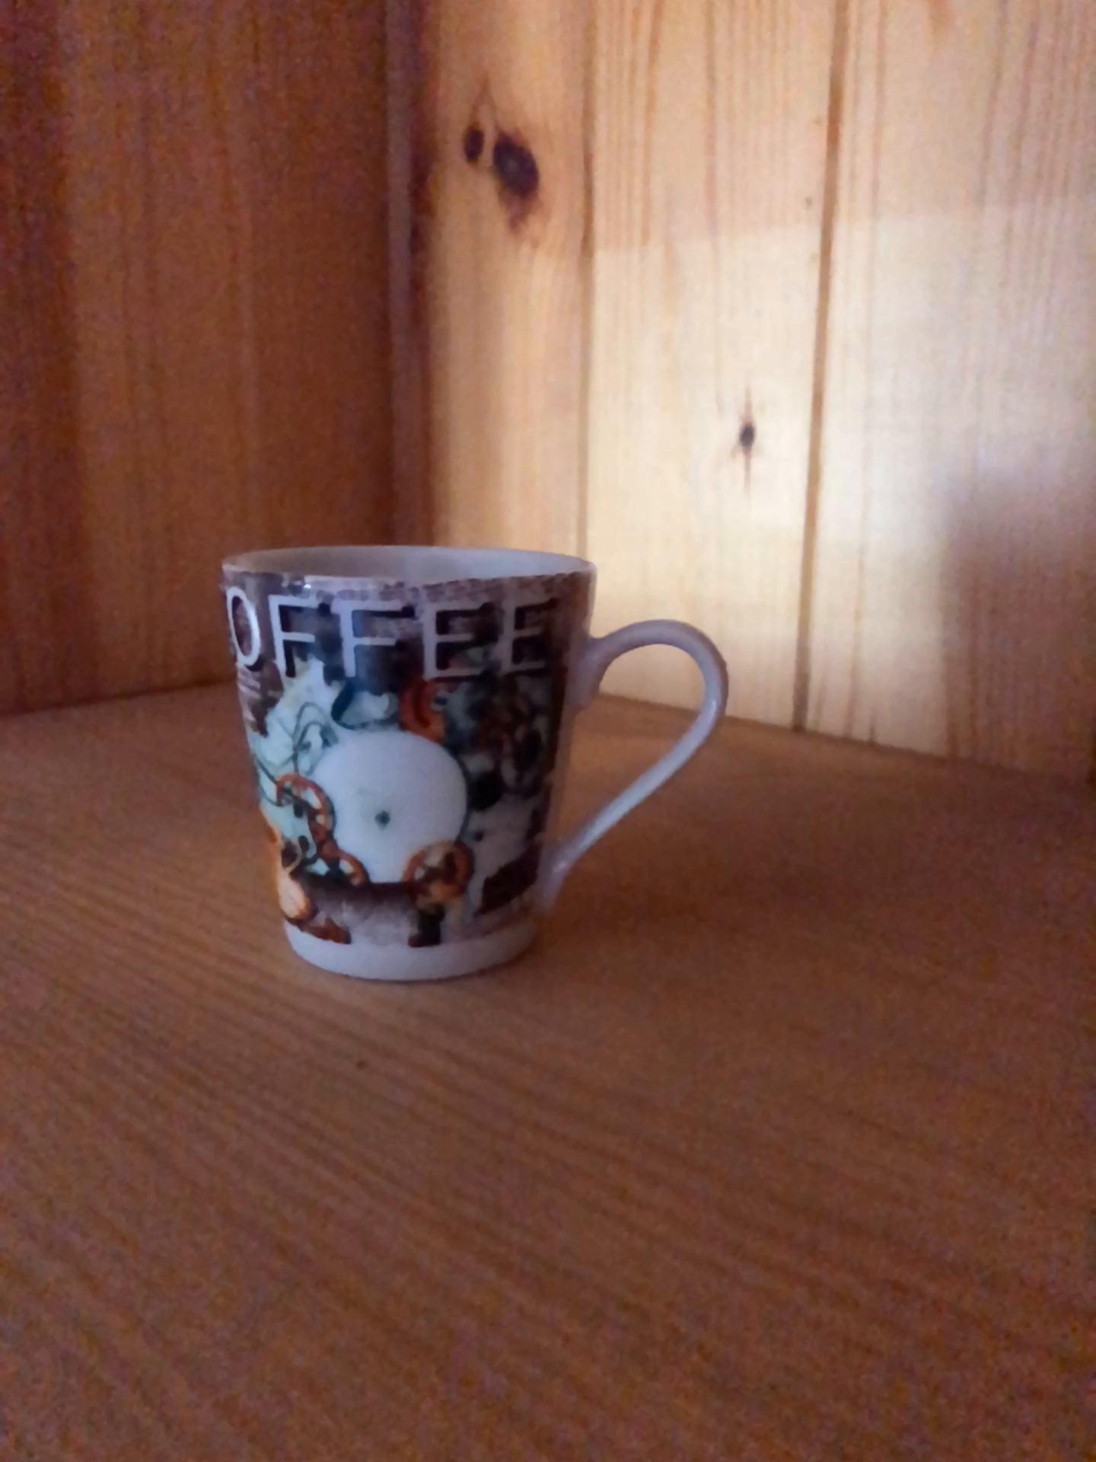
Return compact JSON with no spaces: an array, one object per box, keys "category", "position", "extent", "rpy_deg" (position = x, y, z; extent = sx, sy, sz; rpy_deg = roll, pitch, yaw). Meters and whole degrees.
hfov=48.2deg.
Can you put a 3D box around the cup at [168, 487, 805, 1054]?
[{"category":"cup","position":[-0.007,-0.002,0.197],"extent":[0.080,0.070,0.060],"rpy_deg":[6,14,22]}]
